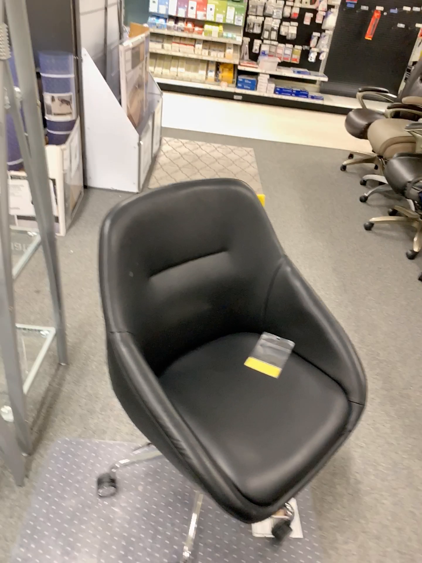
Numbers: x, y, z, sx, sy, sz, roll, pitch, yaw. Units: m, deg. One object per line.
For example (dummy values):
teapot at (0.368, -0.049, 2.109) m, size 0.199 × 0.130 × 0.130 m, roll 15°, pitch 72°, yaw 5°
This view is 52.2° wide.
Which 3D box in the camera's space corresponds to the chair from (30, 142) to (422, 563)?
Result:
chair at (0.074, 0.235, 1.074) m, size 0.671 × 0.886 × 0.622 m, roll -26°, pitch 47°, yaw -39°
